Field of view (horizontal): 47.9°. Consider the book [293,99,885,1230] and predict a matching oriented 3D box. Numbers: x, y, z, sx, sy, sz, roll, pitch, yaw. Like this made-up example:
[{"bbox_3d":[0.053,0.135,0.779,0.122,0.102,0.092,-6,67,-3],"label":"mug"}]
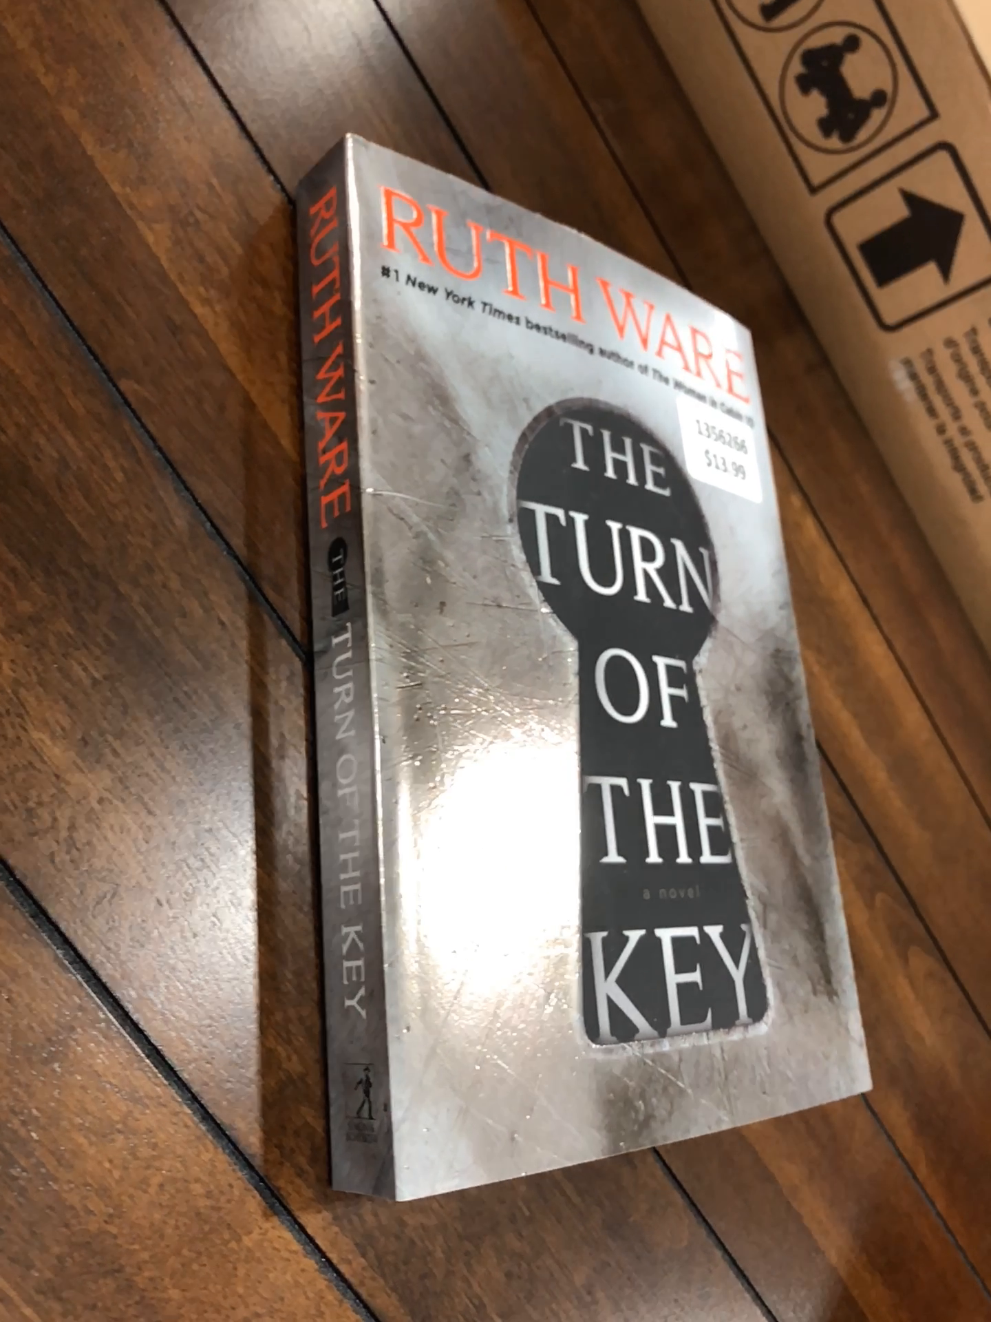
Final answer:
[{"bbox_3d":[0.027,-0.001,0.283,0.158,0.028,0.232,10,70,-41],"label":"book"}]
